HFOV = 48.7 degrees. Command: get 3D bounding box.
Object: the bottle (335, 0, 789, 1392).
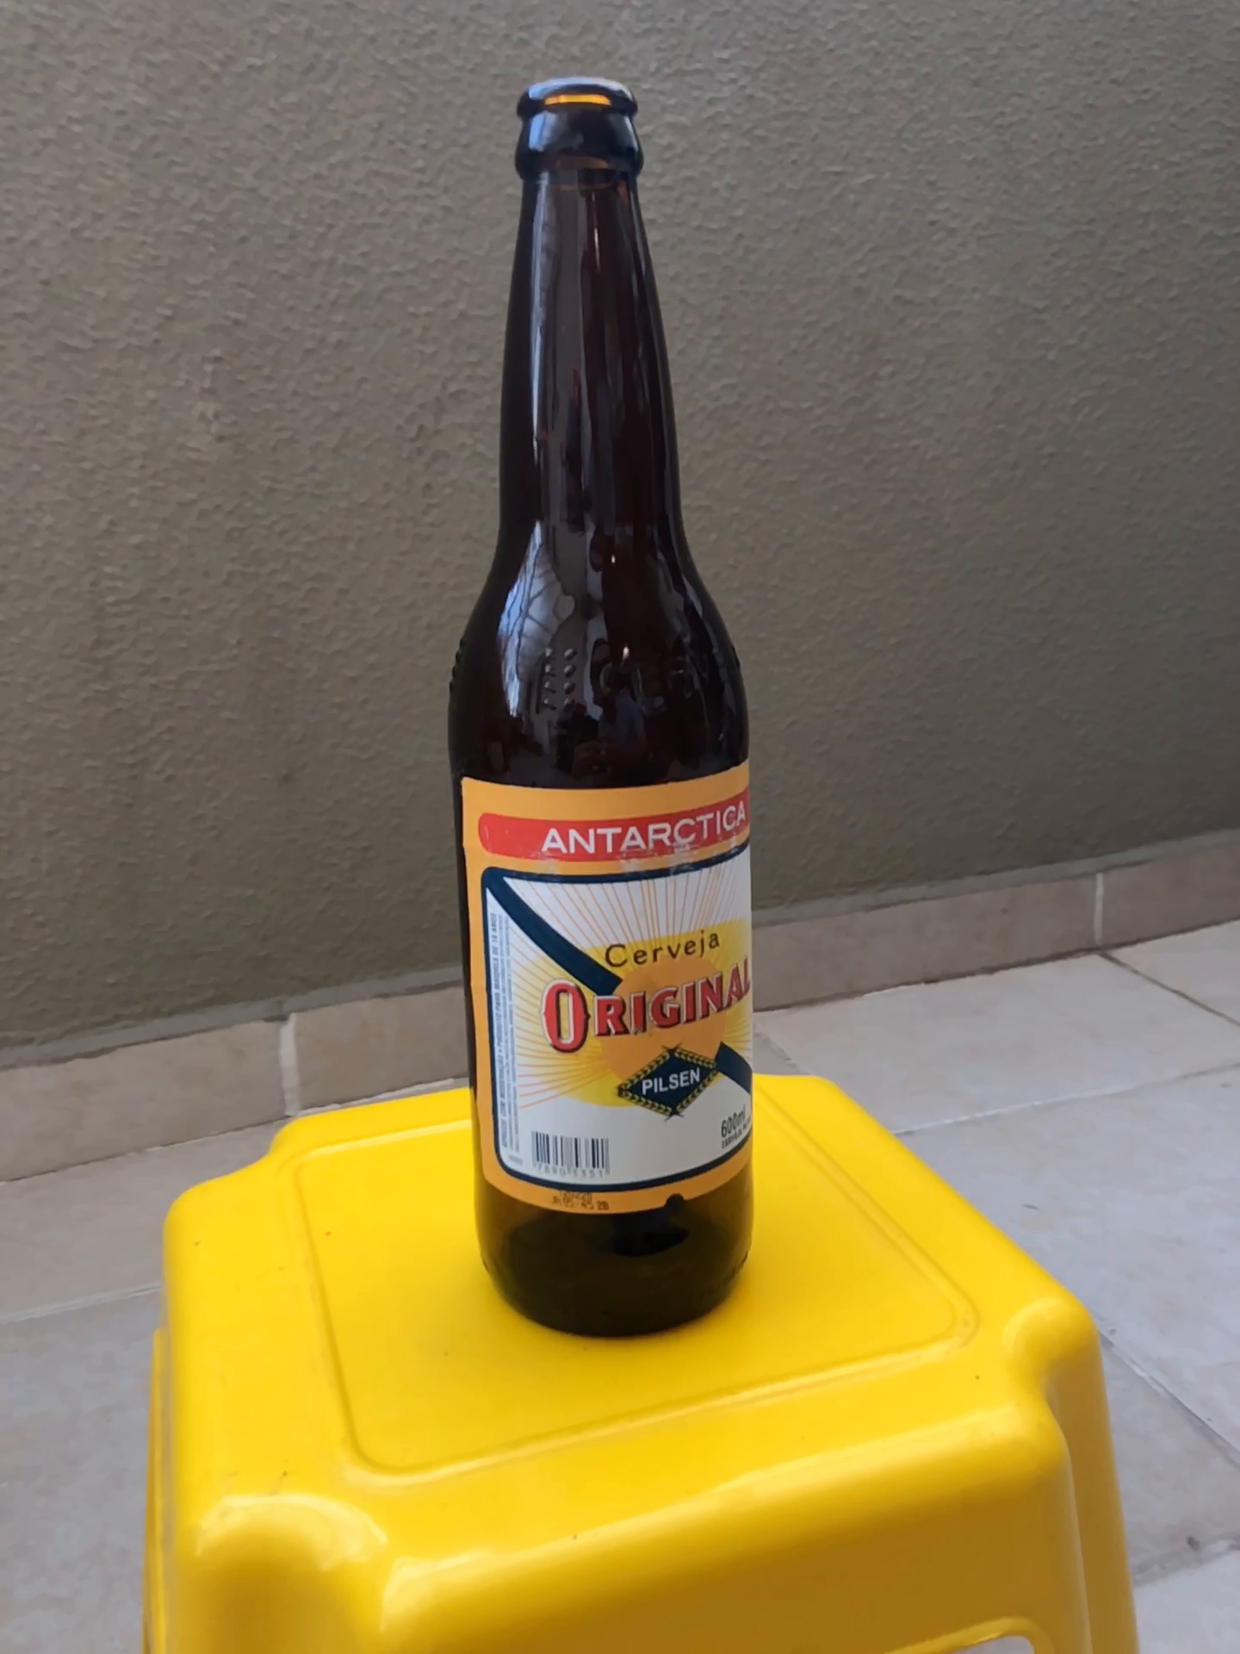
[{"bbox_3d":[-0.013,-0.024,0.329,0.080,0.289,0.080,-1,14,0],"label":"bottle"}]
